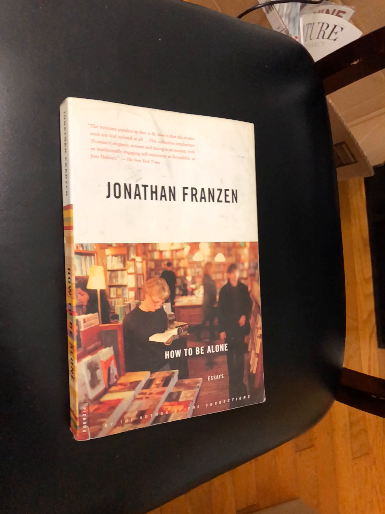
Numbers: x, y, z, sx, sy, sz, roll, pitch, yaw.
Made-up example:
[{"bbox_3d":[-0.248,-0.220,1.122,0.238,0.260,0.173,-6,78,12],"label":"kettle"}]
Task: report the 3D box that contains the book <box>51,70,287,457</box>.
[{"bbox_3d":[-0.013,0.003,0.305,0.160,0.040,0.230,-1,90,-24],"label":"book"}]
